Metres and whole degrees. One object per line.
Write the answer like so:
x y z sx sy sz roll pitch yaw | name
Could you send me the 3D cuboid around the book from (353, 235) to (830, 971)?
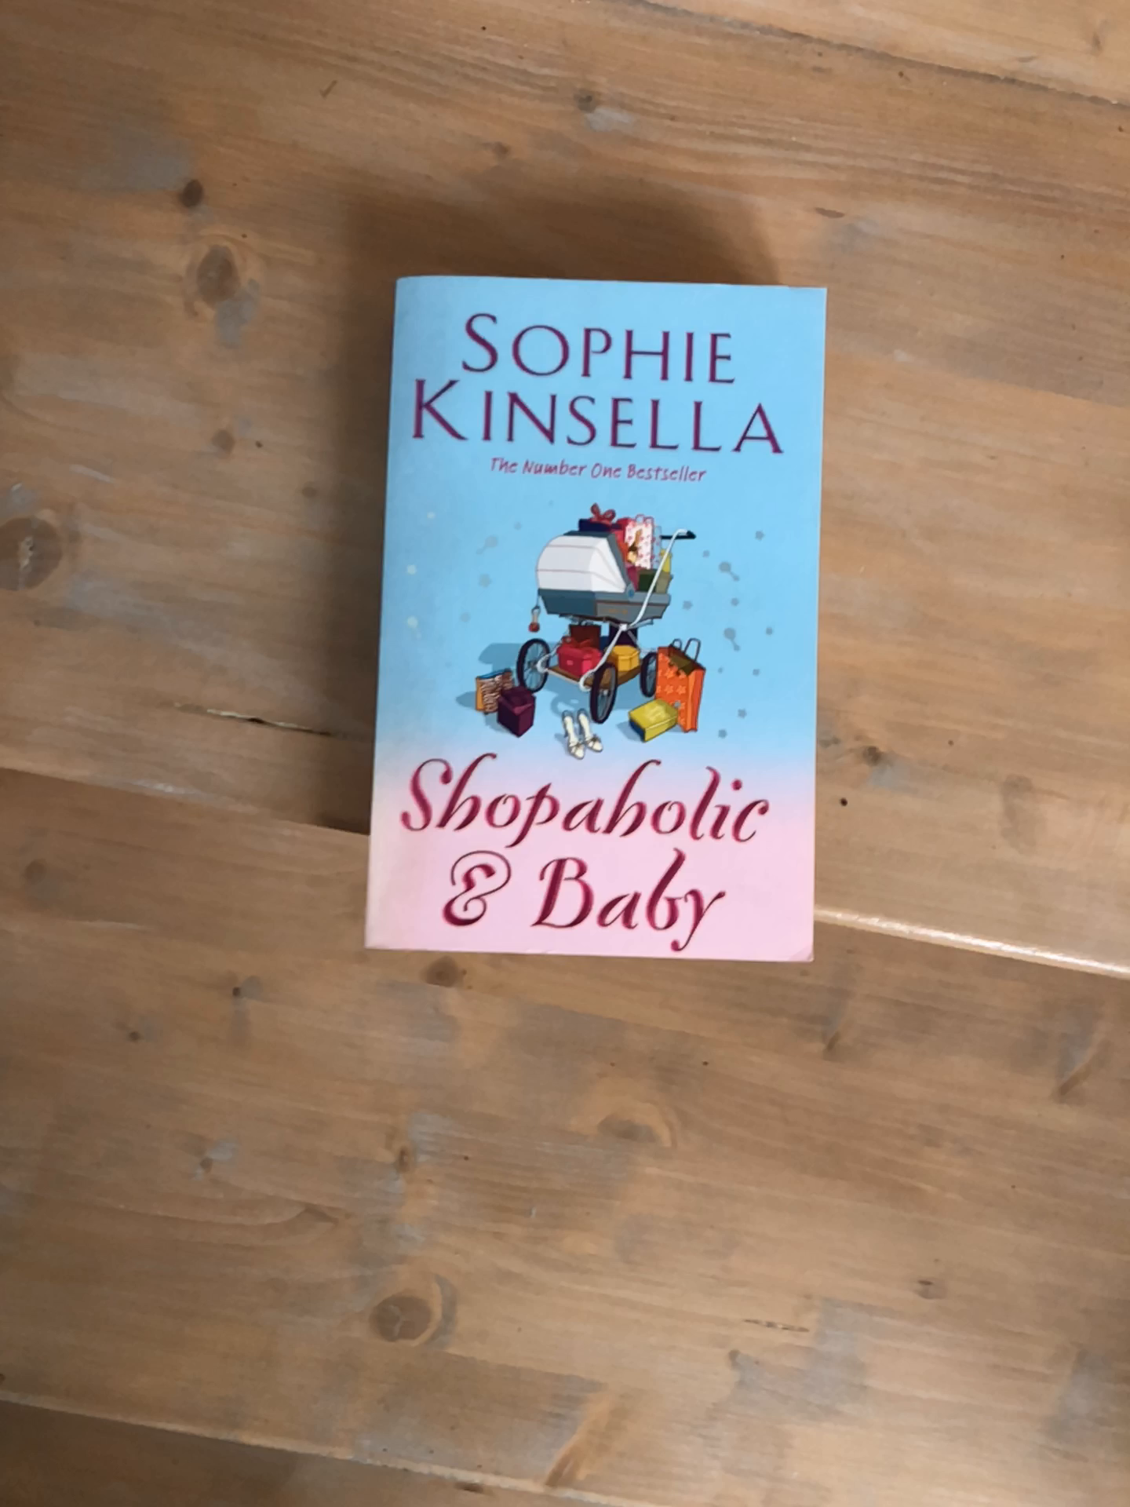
0.010 -0.045 0.373 0.131 0.031 0.211 2 83 -1 | book
